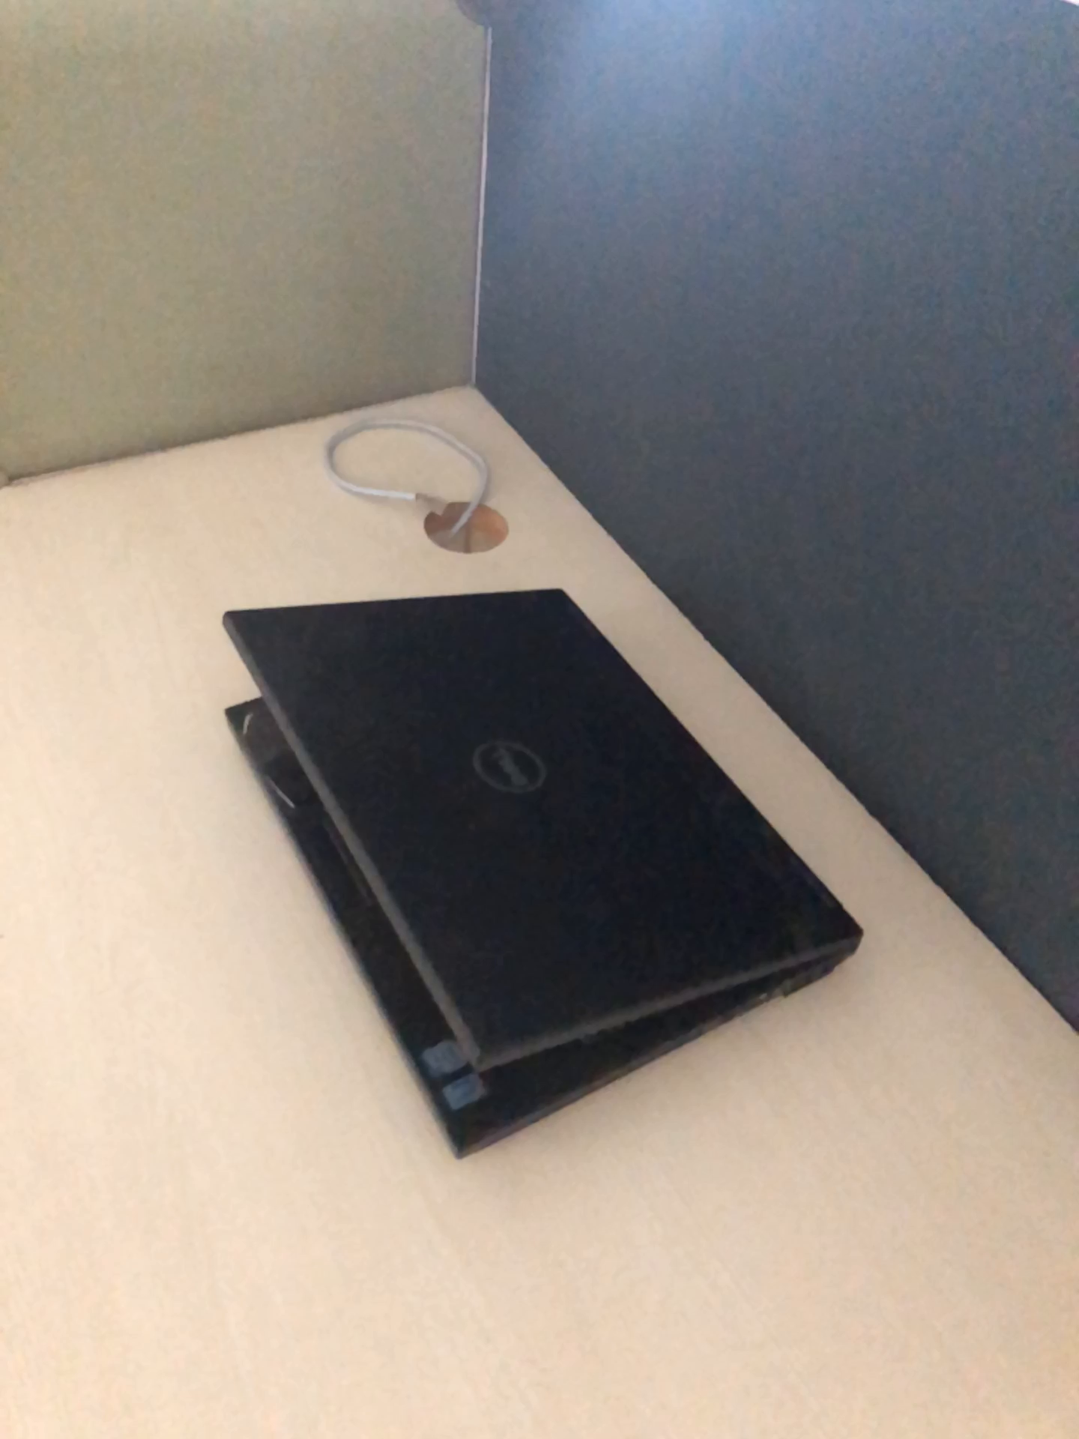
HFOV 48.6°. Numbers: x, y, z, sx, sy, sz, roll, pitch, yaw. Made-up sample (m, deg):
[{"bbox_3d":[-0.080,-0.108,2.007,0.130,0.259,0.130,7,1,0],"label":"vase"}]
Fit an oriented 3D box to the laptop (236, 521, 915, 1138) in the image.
[{"bbox_3d":[0.003,0.031,0.647,0.230,0.064,0.304,-21,50,-22],"label":"laptop"}]
